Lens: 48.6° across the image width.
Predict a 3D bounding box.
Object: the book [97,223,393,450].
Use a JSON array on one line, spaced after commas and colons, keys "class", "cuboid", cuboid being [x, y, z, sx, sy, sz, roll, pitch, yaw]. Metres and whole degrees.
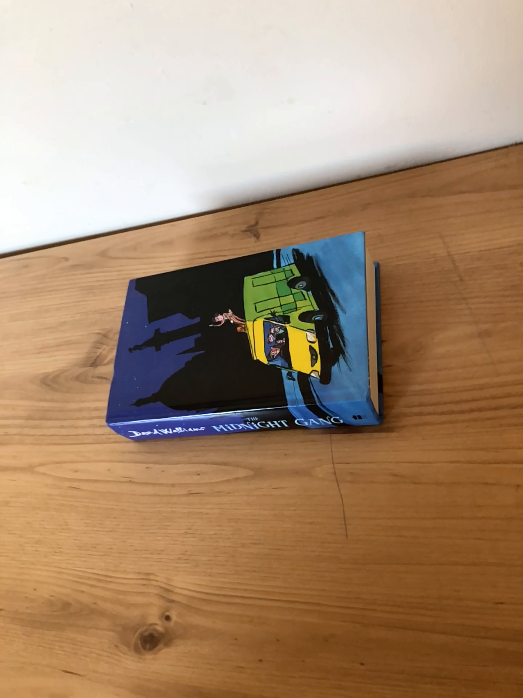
[{"class": "book", "cuboid": [-0.015, -0.003, 0.500, 0.237, 0.060, 0.153, -8, 63, 24]}]
